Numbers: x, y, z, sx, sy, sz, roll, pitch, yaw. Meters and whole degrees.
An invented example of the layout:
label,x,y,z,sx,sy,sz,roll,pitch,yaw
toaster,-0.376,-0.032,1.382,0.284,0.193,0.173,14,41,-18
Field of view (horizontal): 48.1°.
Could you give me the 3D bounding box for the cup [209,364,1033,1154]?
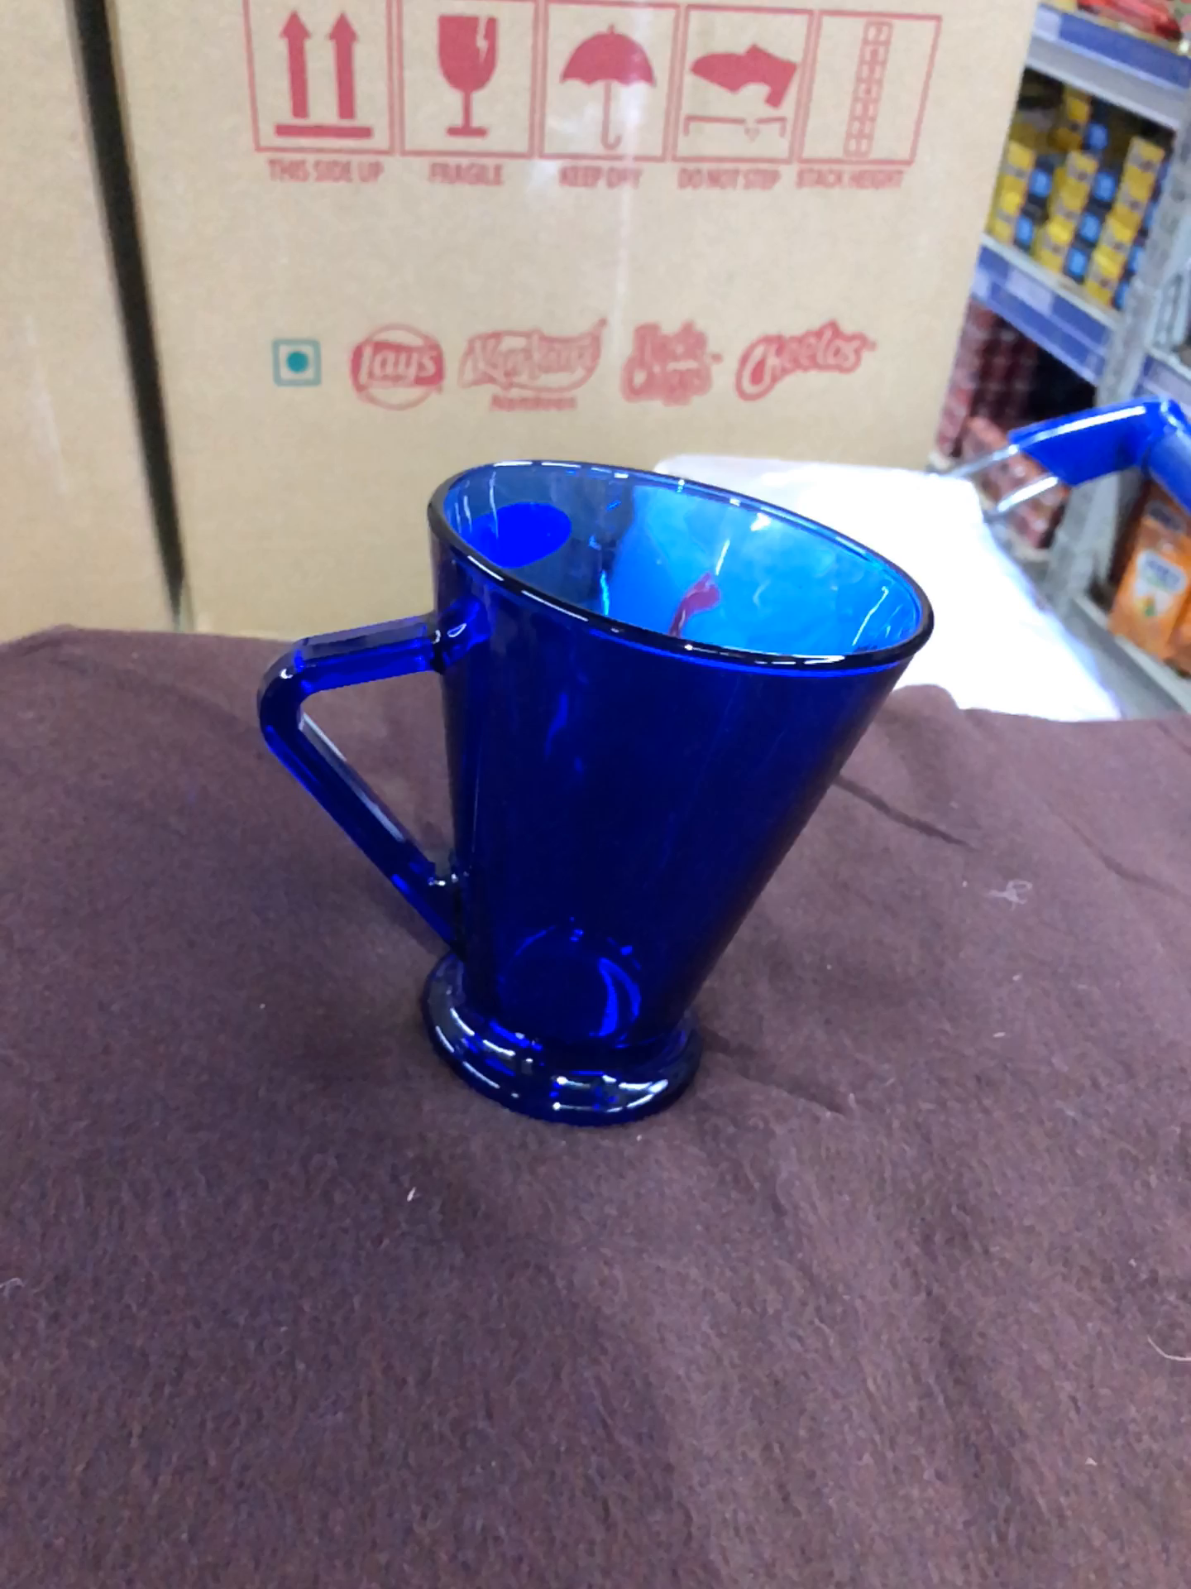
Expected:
label,x,y,z,sx,sy,sz,roll,pitch,yaw
cup,-0.006,-0.002,0.238,0.110,0.109,0.070,6,38,-11
